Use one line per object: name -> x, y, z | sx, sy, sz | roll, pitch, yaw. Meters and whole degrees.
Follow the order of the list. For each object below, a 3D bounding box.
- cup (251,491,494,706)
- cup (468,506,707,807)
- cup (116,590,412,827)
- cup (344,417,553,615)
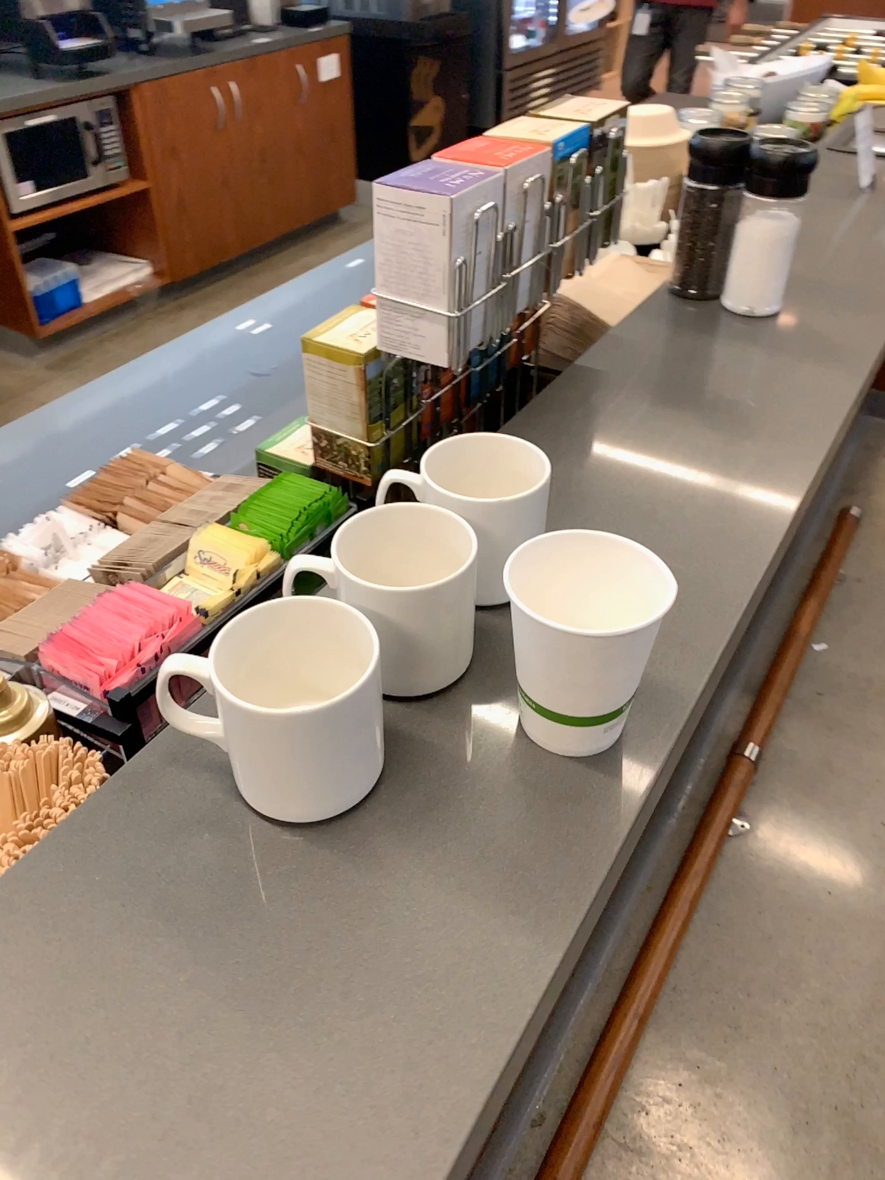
cup -> -0.036, 0.003, 0.548 | 0.130, 0.080, 0.101 | 2, 39, 2
cup -> 0.077, 0.035, 0.501 | 0.090, 0.109, 0.090 | 0, 39, 0
cup -> -0.084, 0.061, 0.476 | 0.130, 0.080, 0.091 | 1, 39, 1
cup -> 0.007, -0.053, 0.630 | 0.130, 0.089, 0.101 | 3, 39, 4
